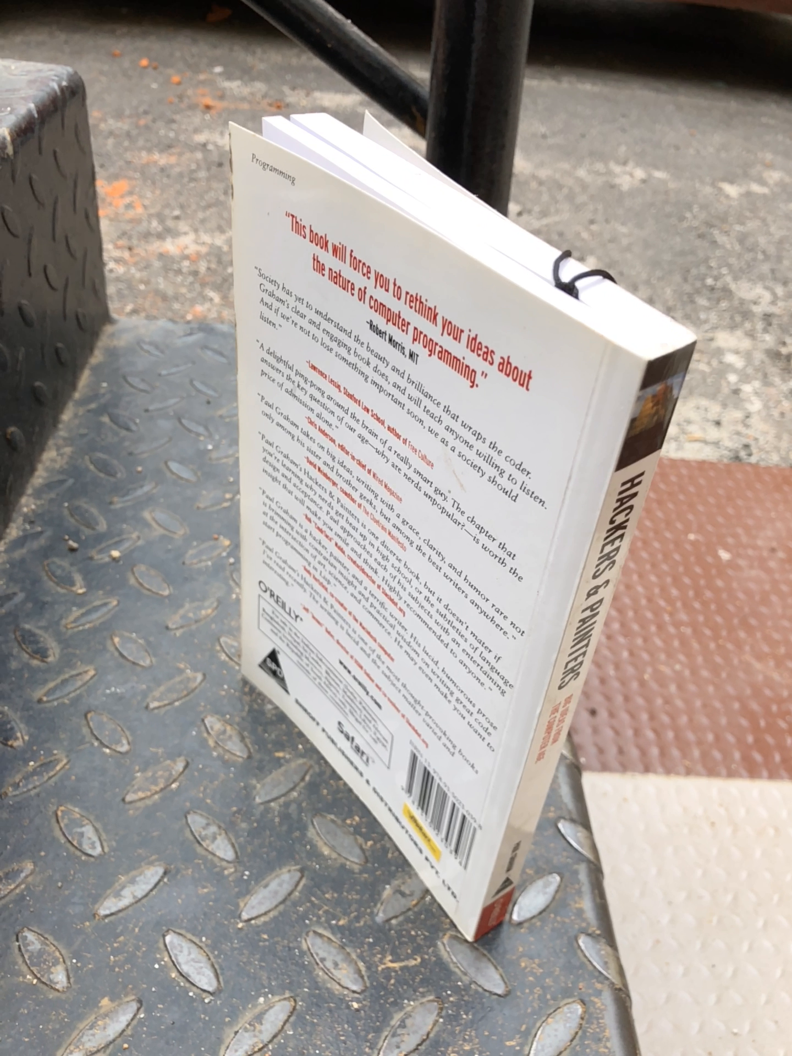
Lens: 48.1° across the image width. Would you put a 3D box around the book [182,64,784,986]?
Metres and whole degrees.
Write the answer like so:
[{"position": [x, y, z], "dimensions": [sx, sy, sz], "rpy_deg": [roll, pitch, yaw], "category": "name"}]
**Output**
[{"position": [-0.005, 0.008, 0.263], "dimensions": [0.030, 0.219, 0.170], "rpy_deg": [-22, 49, -27], "category": "book"}]
